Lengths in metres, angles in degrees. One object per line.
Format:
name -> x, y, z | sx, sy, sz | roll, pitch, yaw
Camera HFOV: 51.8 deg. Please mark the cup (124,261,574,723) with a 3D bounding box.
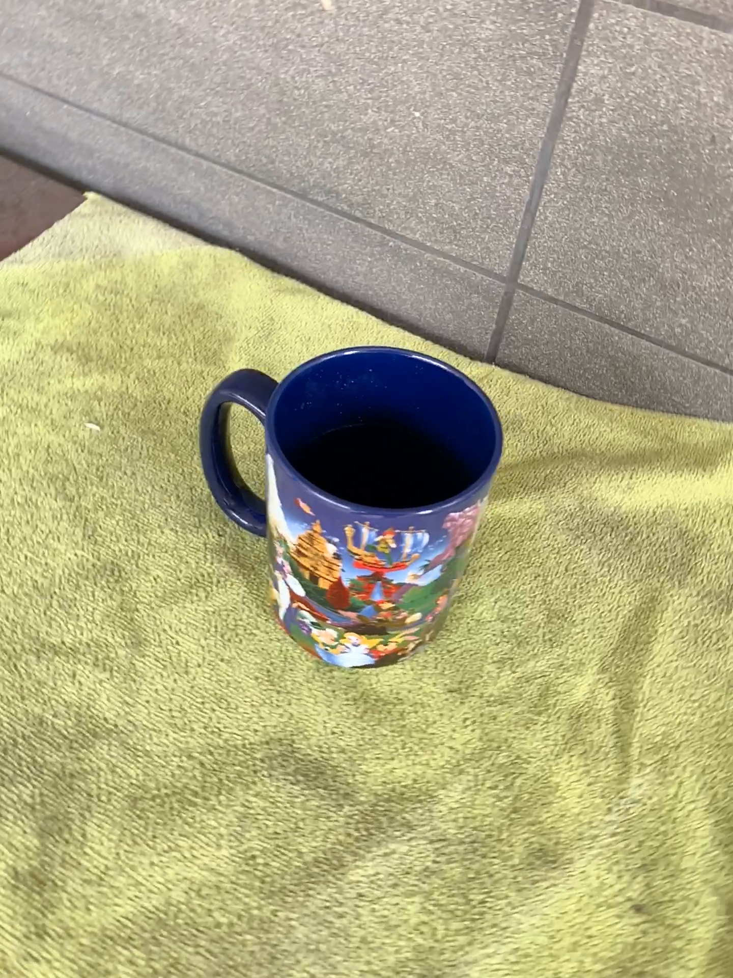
cup -> -0.010, 0.000, 0.305 | 0.130, 0.110, 0.090 | 30, 53, 18
